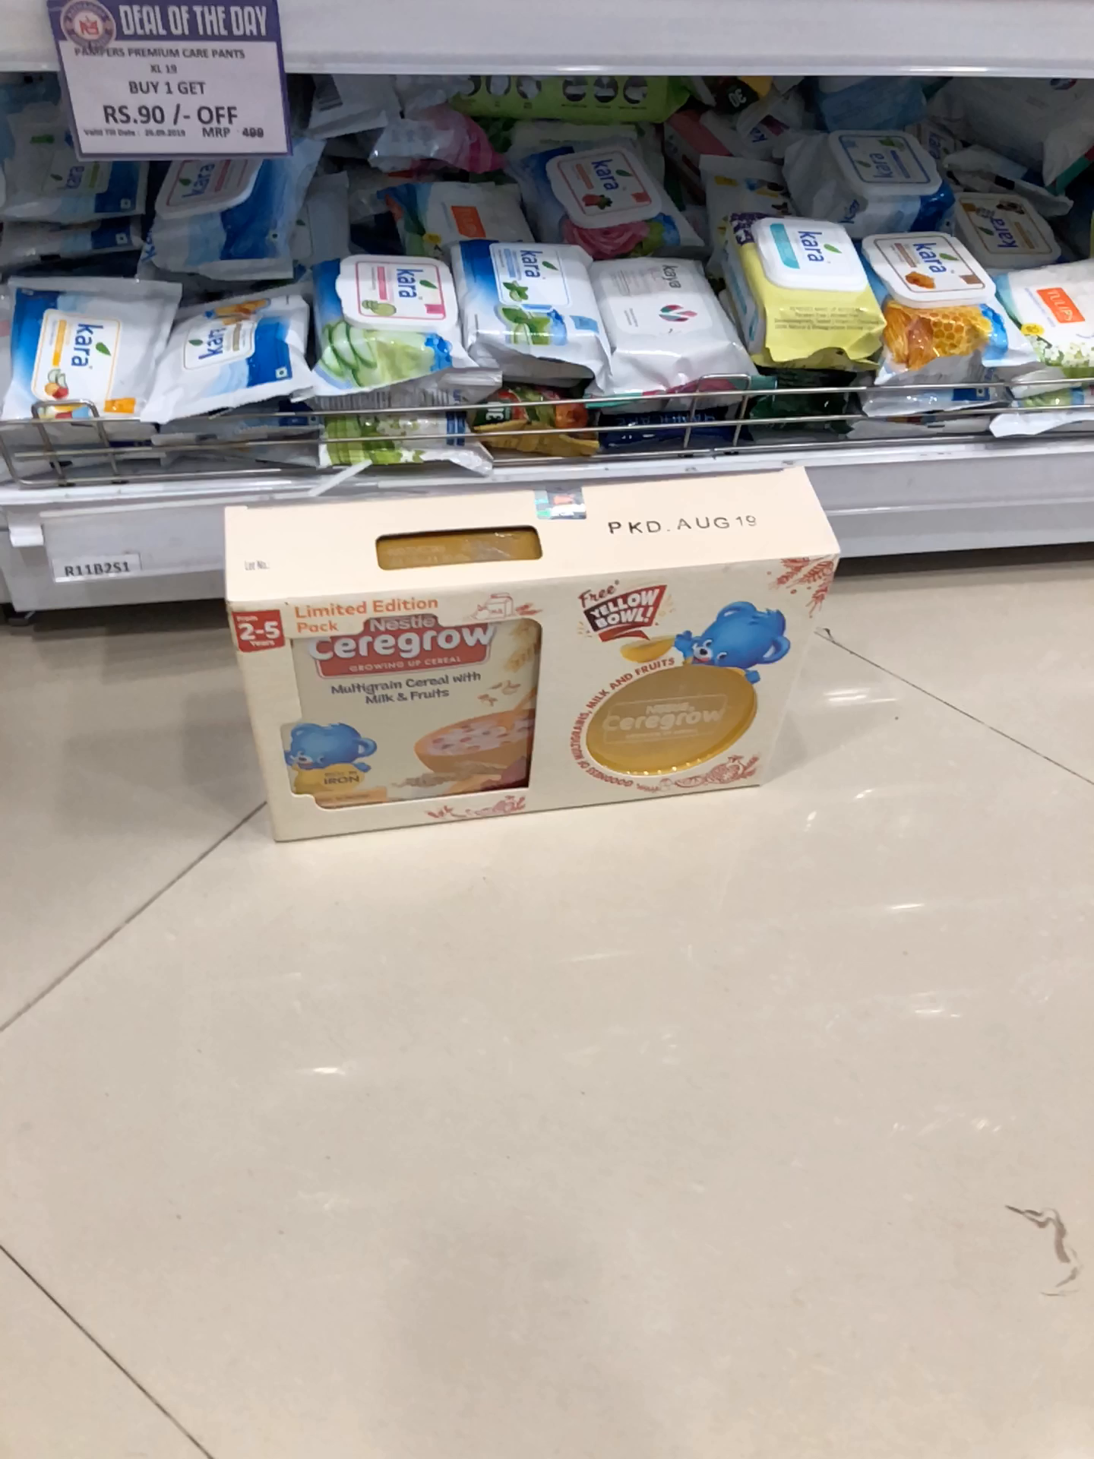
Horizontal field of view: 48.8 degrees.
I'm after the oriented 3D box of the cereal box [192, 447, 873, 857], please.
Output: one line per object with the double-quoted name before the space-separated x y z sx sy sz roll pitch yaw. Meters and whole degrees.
"cereal box" -0.011 -0.035 0.644 0.310 0.209 0.070 -6 52 -9
